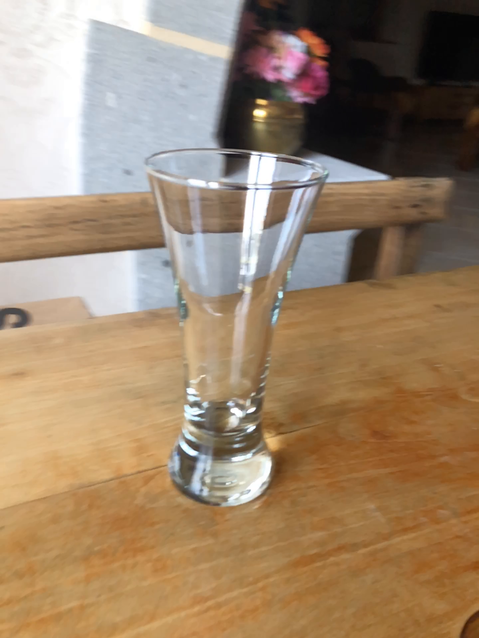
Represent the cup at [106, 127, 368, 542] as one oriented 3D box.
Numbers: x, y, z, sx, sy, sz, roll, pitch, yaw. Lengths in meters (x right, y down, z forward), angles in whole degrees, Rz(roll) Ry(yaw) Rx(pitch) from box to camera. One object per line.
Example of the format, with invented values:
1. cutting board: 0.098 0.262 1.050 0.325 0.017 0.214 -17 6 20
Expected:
1. cup: -0.001 0.002 0.232 0.070 0.149 0.081 16 29 23
